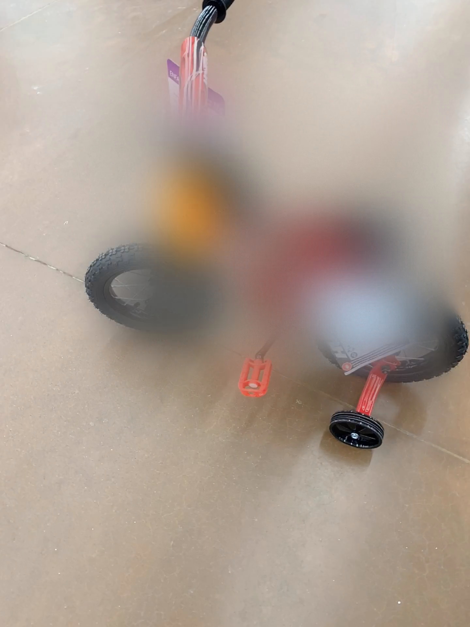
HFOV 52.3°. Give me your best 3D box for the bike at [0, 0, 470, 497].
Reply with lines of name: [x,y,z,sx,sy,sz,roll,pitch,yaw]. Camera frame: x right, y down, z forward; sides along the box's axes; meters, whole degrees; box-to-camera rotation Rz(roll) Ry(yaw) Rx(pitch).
bike: [0.063,-0.115,0.740,0.735,0.604,0.441,12,53,4]
